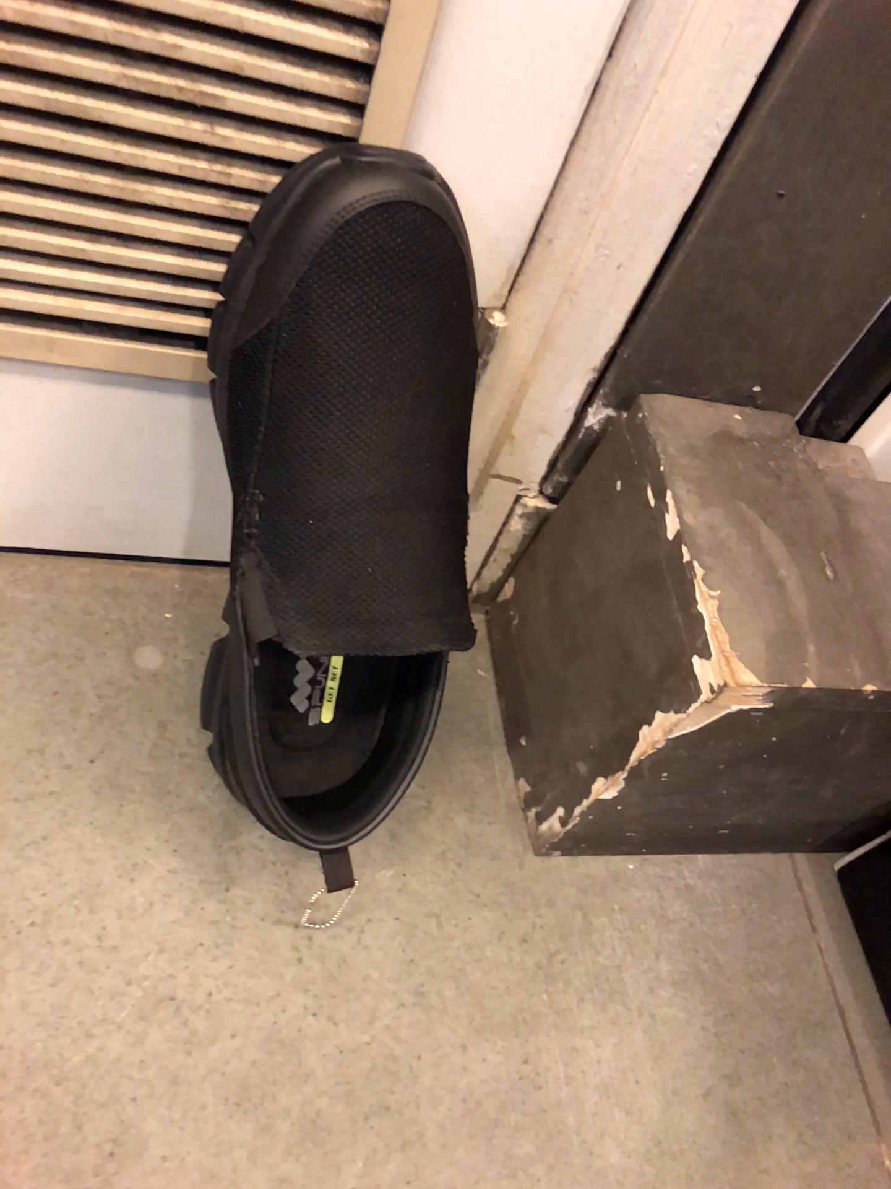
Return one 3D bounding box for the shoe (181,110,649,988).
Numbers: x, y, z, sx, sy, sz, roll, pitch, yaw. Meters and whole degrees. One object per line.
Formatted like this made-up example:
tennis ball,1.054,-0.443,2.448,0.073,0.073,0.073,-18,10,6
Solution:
shoe,-0.032,-0.016,0.382,0.112,0.291,0.127,0,23,-21
